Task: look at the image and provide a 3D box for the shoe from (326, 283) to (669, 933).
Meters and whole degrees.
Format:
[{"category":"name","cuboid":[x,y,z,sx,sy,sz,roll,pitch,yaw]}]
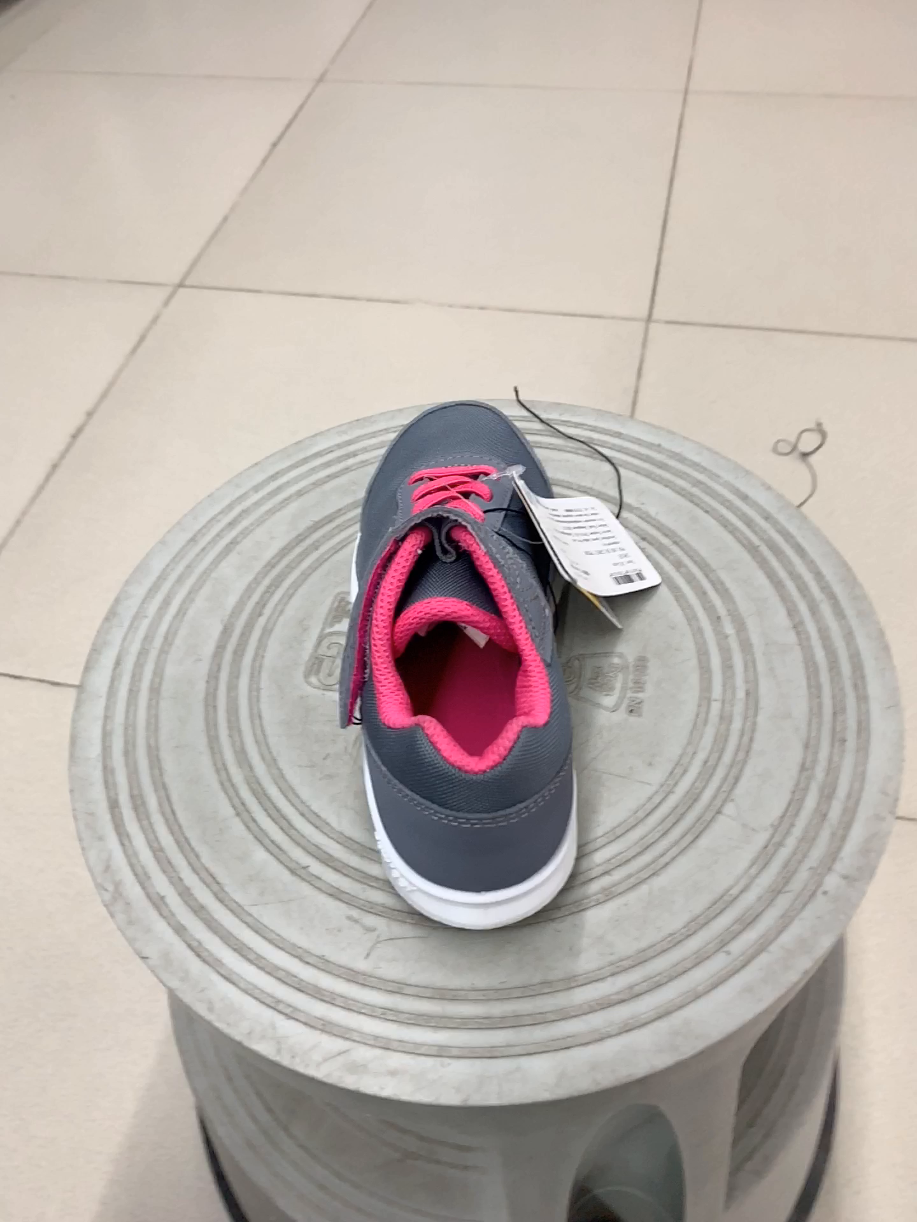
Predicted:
[{"category":"shoe","cuboid":[0.008,-0.007,0.281,0.070,0.090,0.170,-4,52,2]}]
